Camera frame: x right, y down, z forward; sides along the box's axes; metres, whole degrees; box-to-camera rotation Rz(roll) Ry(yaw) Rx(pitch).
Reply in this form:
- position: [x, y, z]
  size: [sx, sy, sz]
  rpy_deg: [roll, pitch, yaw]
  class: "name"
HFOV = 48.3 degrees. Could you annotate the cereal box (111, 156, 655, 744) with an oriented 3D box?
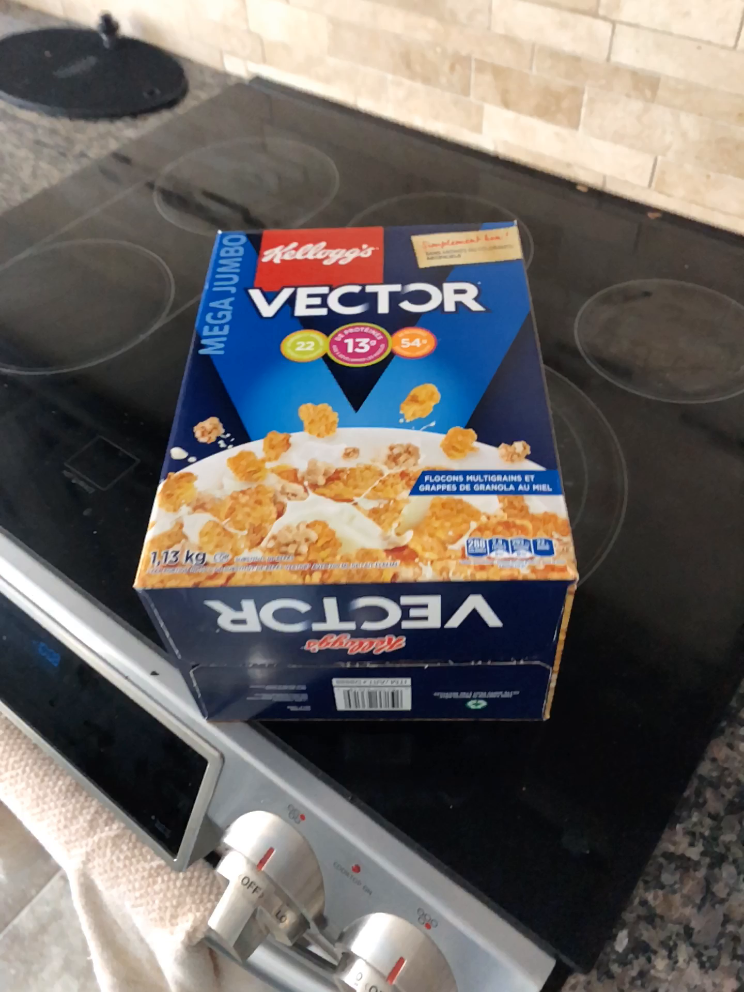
- position: [0.008, -0.035, 0.495]
  size: [0.220, 0.169, 0.311]
  rpy_deg: [0, 54, 2]
  class: "cereal box"
